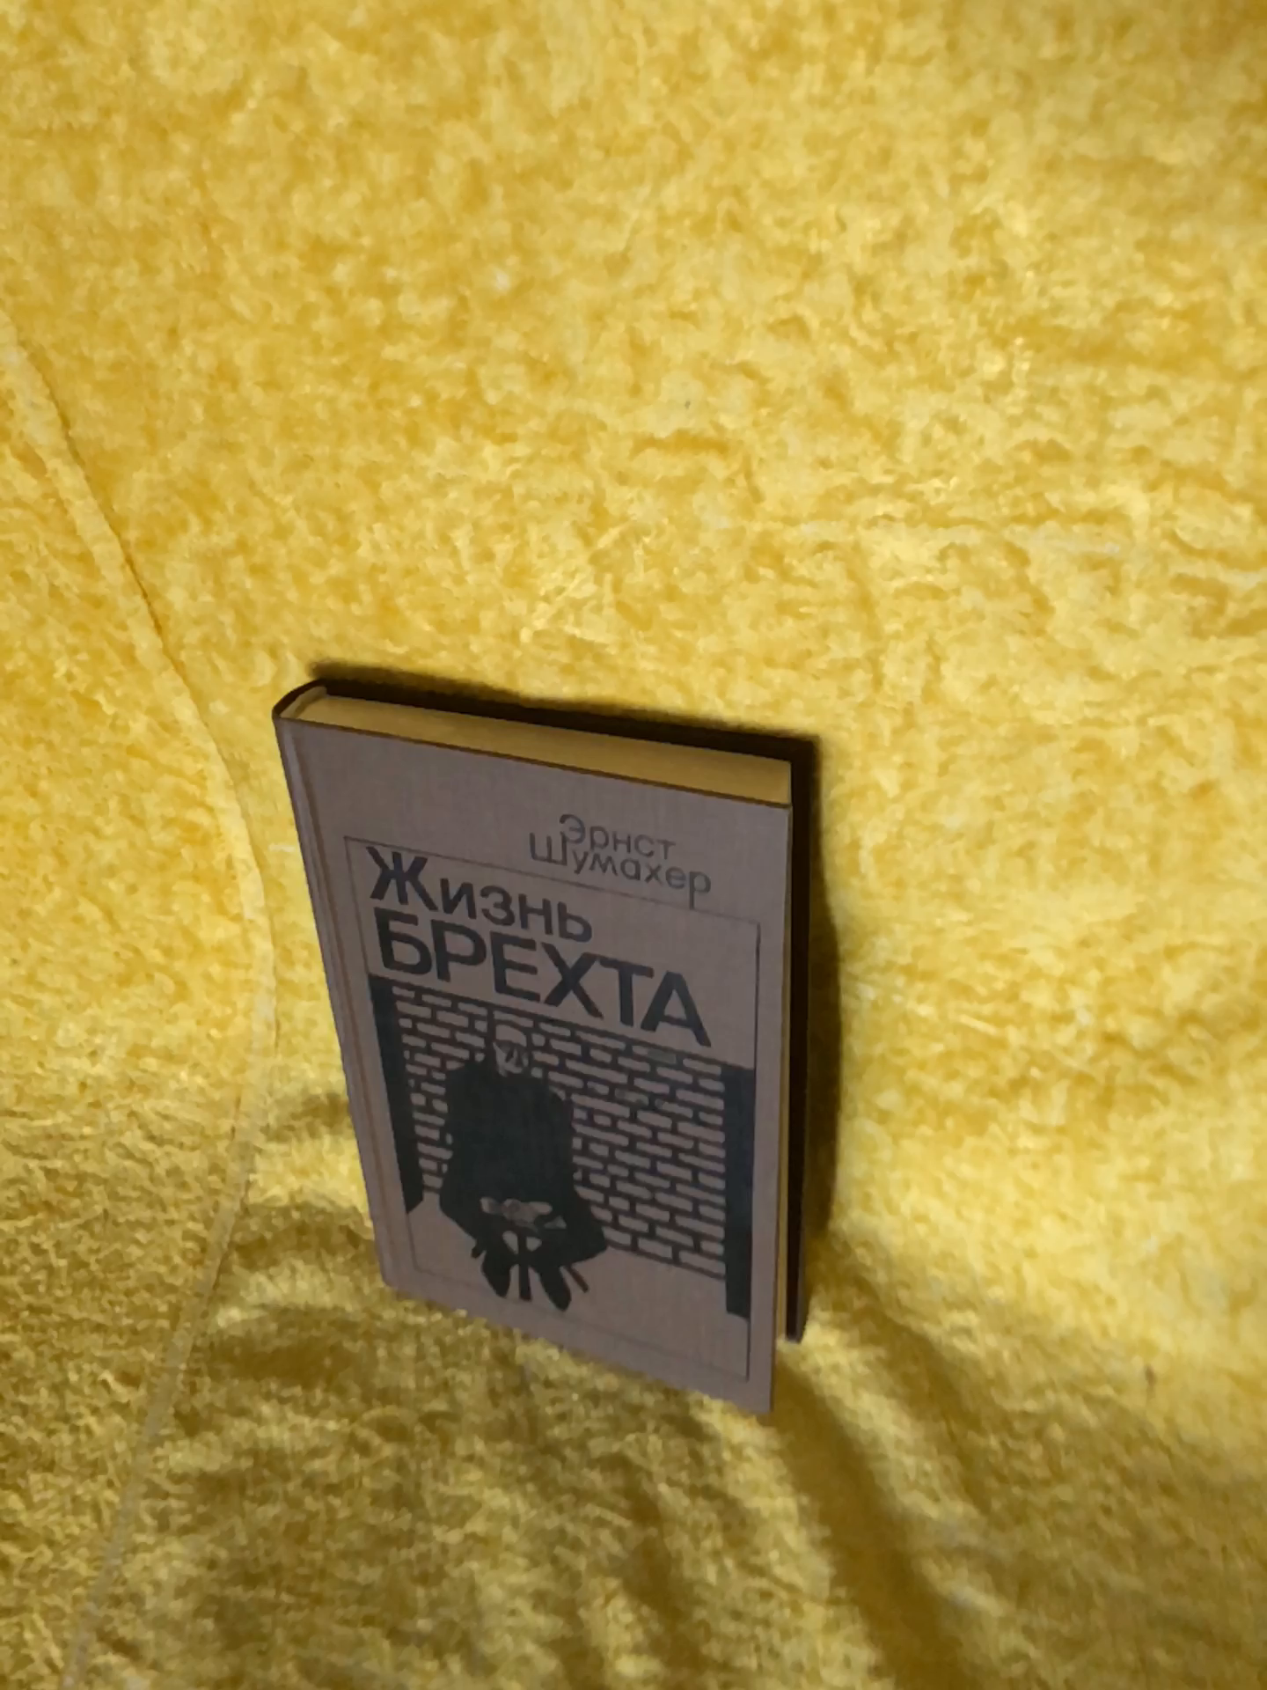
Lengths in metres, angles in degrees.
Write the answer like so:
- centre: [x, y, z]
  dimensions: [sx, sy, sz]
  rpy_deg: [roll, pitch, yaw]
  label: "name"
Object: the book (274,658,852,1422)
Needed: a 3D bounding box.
- centre: [-0.016, 0.057, 0.375]
  dimensions: [0.130, 0.200, 0.033]
  rpy_deg: [12, 35, 19]
  label: "book"
